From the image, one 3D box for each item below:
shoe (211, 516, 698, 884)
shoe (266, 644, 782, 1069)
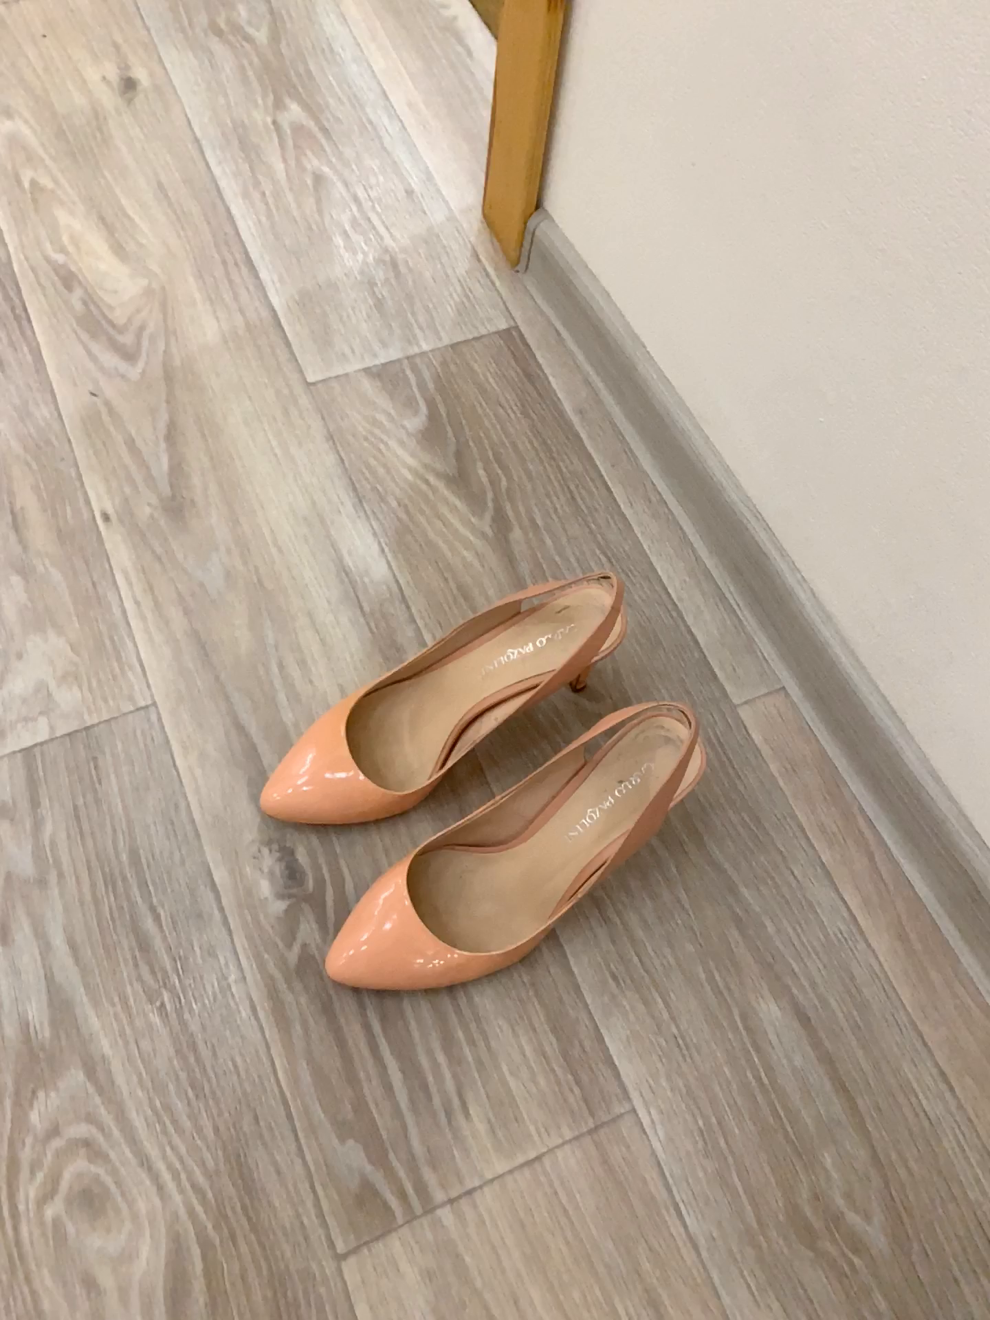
[{"bbox_3d":[-0.023,0.024,0.589,0.240,0.120,0.090,-22,68,-15],"label":"shoe"},{"bbox_3d":[0.014,0.106,0.547,0.240,0.120,0.090,-28,70,-17],"label":"shoe"}]
